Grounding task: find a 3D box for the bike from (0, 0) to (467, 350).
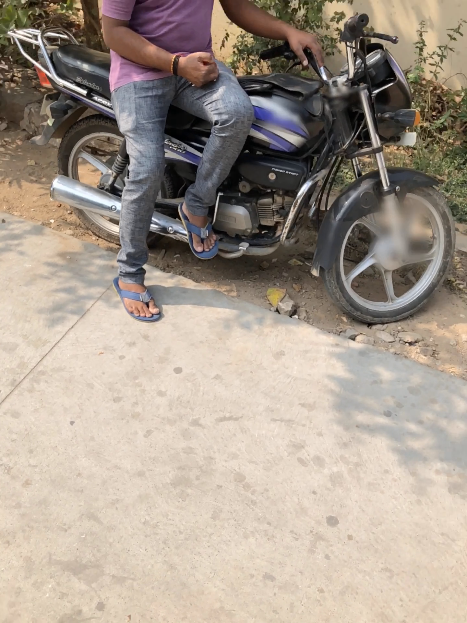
[{"bbox_3d":[0.089,-0.702,2.158,1.757,1.294,0.775,11,40,11],"label":"bike"}]
